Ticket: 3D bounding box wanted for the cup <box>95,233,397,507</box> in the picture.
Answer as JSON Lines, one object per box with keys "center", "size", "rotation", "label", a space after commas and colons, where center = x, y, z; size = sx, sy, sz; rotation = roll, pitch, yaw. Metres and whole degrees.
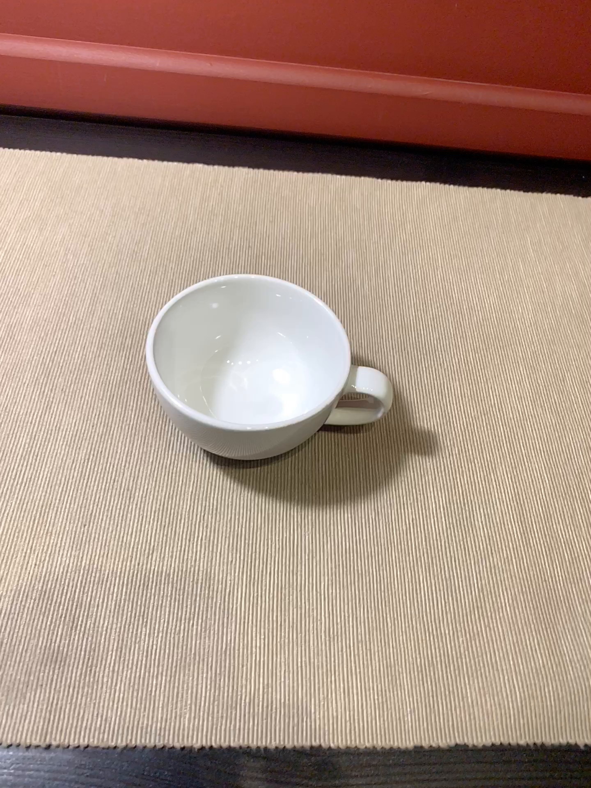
{"center": [-0.017, -0.012, 0.278], "size": [0.110, 0.060, 0.090], "rotation": [10, 51, 1], "label": "cup"}
